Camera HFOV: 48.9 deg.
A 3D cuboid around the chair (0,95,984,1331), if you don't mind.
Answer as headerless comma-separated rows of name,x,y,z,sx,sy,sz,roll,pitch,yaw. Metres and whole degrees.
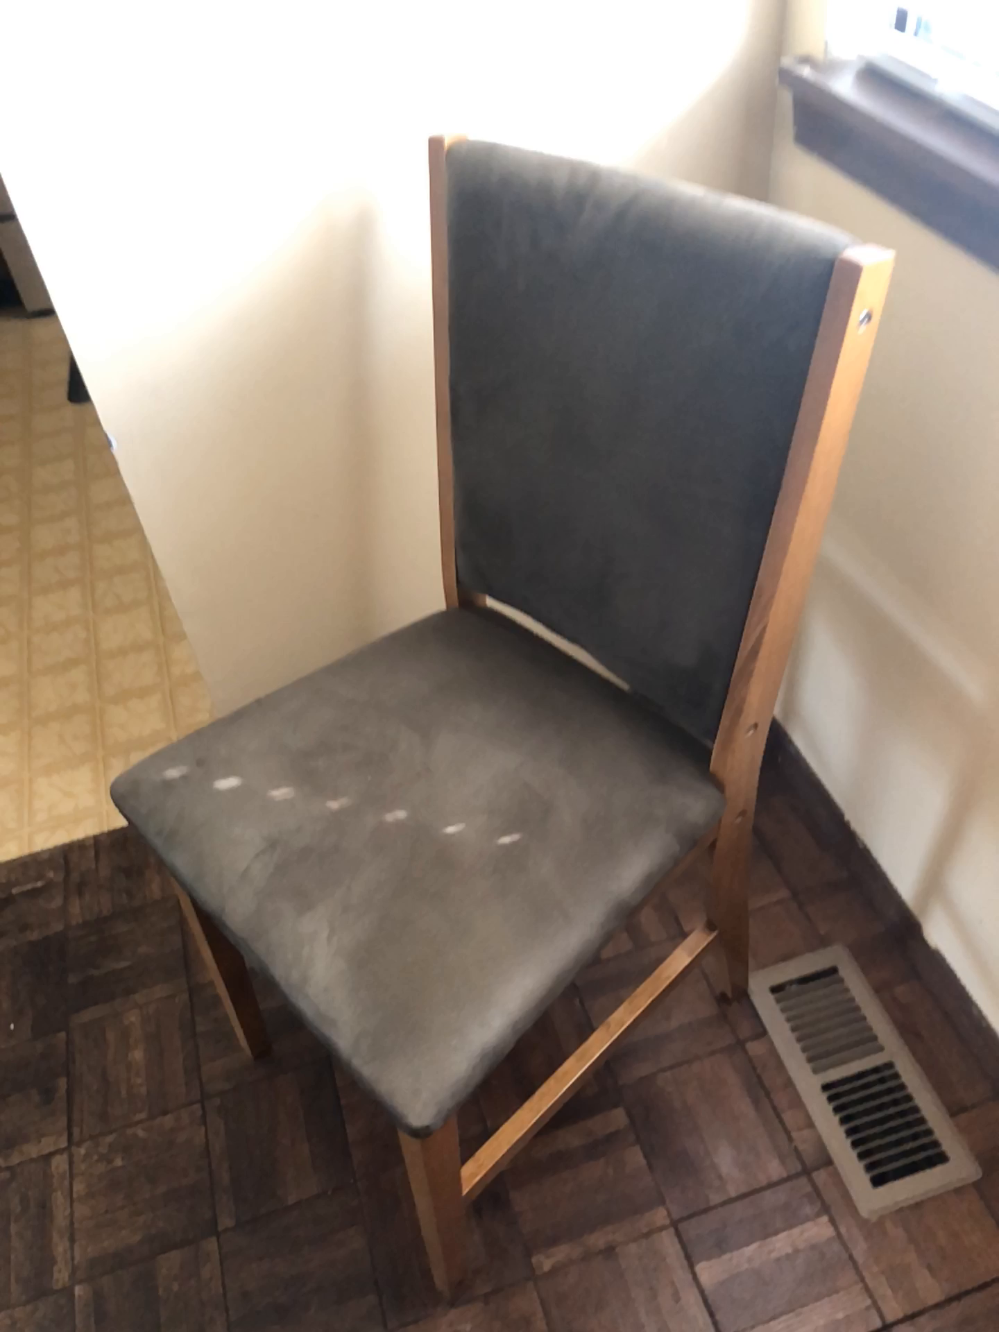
chair,-0.040,0.065,0.966,0.510,0.859,0.491,-33,50,-29
